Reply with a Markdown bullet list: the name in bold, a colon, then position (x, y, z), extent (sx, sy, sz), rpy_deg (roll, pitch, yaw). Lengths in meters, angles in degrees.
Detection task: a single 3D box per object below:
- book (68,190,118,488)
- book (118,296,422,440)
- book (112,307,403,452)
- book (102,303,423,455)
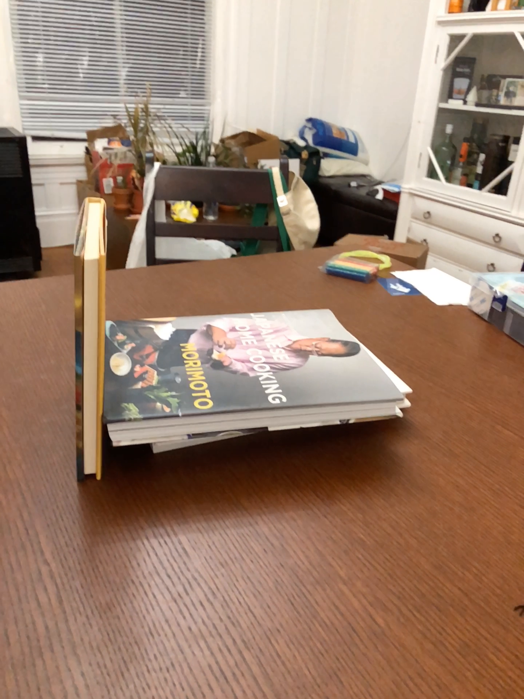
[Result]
- **book**: position (-0.154, -0.022, 0.547), extent (0.030, 0.209, 0.211), rpy_deg (-1, 26, -13)
- **book**: position (-0.005, 0.004, 0.651), extent (0.280, 0.030, 0.221), rpy_deg (-7, 27, -19)
- **book**: position (-0.016, 0.018, 0.684), extent (0.280, 0.030, 0.221), rpy_deg (-9, 28, -21)
- **book**: position (-0.017, 0.014, 0.593), extent (0.280, 0.030, 0.221), rpy_deg (-5, 26, -14)
